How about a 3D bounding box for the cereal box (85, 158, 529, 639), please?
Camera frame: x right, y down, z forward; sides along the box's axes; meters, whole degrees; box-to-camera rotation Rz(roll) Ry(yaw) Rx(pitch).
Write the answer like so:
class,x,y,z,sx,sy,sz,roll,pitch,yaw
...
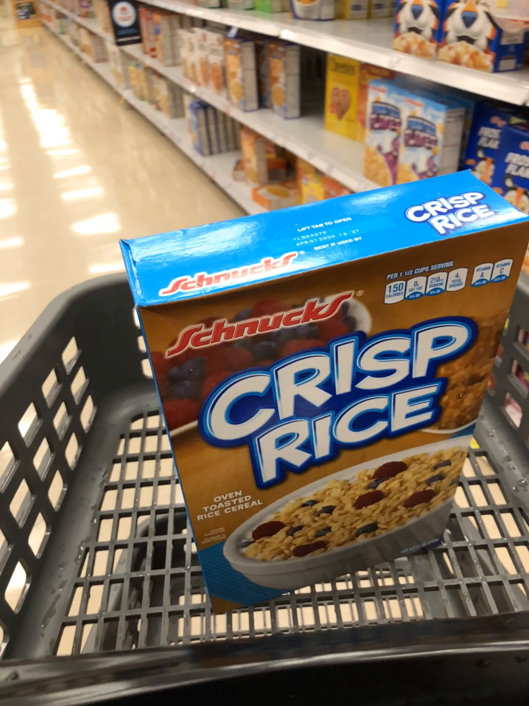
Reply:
class,x,y,z,sx,sy,sz,roll,pitch,yaw
cereal box,0.036,0.051,0.376,0.220,0.299,0.060,-14,42,-13
